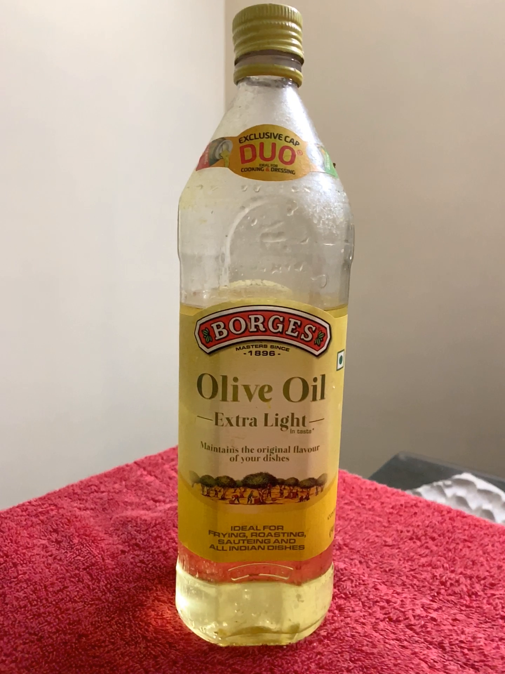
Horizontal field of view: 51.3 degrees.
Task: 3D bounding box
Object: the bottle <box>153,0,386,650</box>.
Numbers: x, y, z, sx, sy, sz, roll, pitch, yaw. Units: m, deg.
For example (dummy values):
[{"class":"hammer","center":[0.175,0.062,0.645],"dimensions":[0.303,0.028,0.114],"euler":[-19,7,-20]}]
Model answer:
[{"class":"bottle","center":[0.003,-0.005,0.238],"dimensions":[0.080,0.269,0.070],"euler":[0,10,-2]}]
